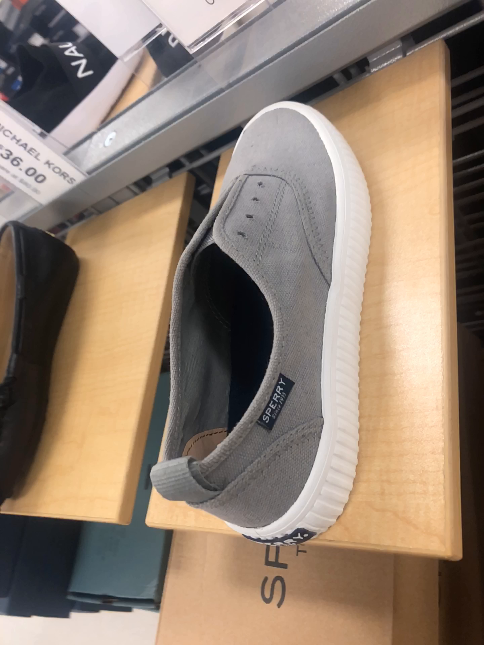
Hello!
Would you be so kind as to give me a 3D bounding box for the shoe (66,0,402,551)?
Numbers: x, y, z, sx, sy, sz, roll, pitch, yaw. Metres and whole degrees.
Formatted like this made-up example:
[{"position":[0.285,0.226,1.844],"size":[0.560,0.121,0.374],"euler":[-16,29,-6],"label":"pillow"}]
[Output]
[{"position":[0.004,-0.030,0.265],"size":[0.097,0.081,0.252],"euler":[-19,53,35],"label":"shoe"}]
